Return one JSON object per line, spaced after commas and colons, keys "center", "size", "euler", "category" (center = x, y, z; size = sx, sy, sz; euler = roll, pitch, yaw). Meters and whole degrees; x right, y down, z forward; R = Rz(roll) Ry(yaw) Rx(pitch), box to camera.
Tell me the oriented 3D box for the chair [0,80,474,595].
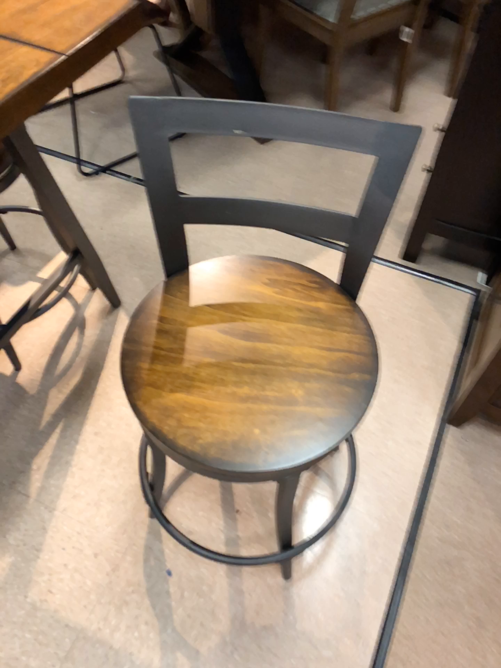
{"center": [-0.017, 0.086, 0.957], "size": [0.490, 0.805, 0.462], "euler": [8, 54, 5], "category": "chair"}
